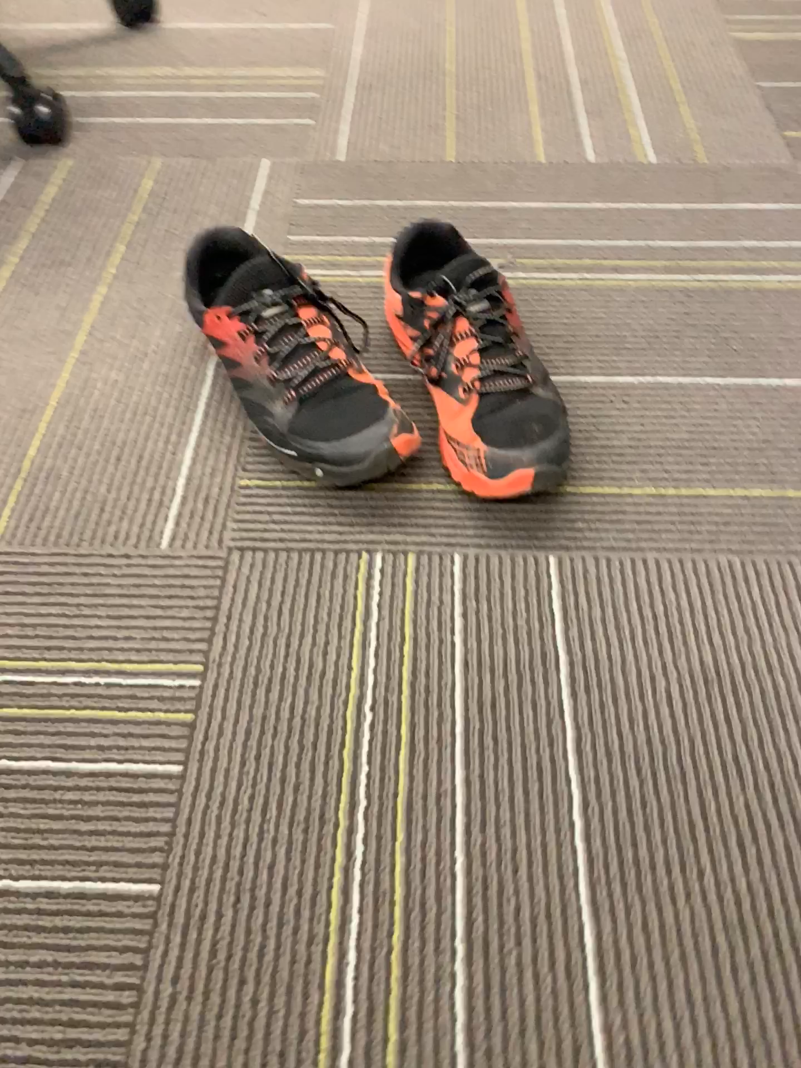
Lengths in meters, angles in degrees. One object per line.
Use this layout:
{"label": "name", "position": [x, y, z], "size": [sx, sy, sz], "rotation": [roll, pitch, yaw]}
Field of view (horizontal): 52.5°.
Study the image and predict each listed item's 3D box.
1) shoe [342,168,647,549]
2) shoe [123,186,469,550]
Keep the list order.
{"label": "shoe", "position": [0.062, -0.165, 0.706], "size": [0.130, 0.129, 0.322], "rotation": [-16, 54, -11]}
{"label": "shoe", "position": [-0.094, -0.155, 0.708], "size": [0.130, 0.129, 0.311], "rotation": [-32, 58, -21]}
